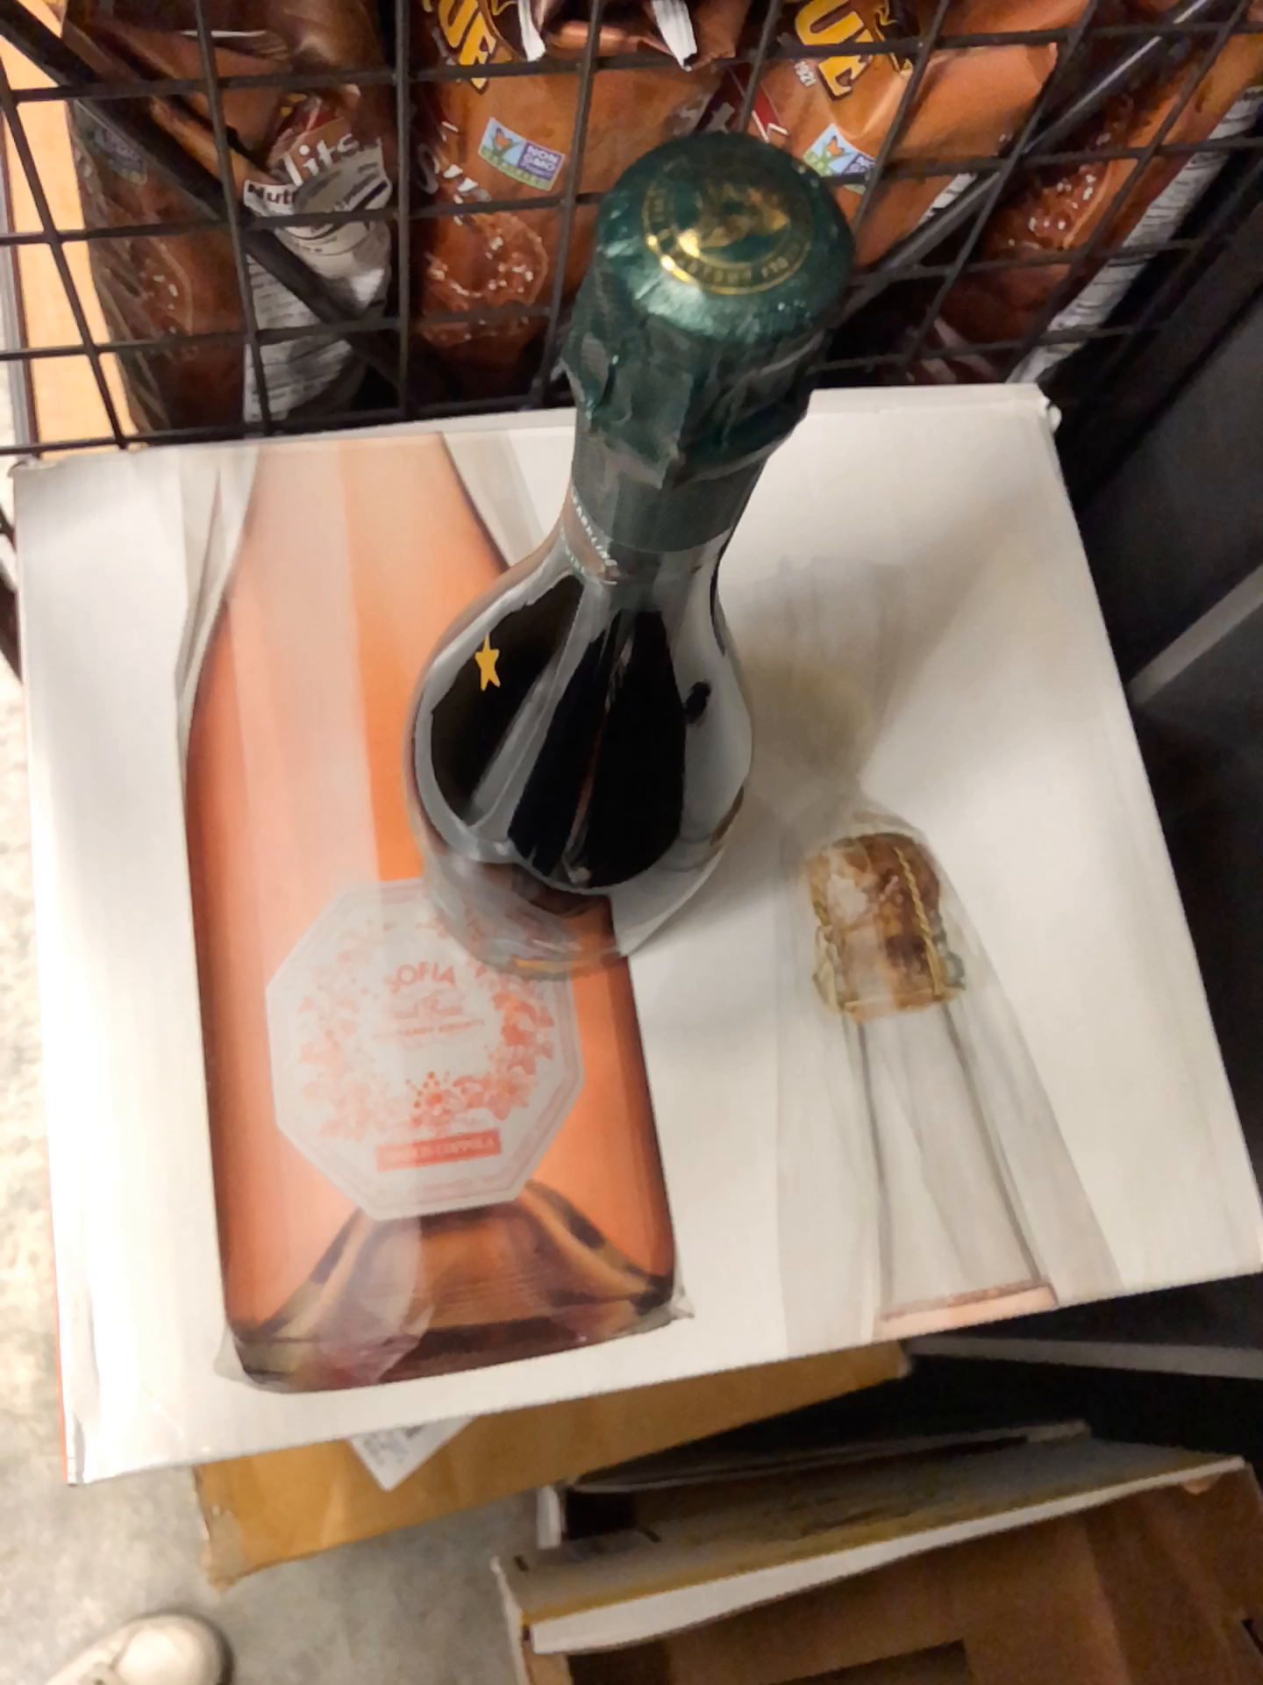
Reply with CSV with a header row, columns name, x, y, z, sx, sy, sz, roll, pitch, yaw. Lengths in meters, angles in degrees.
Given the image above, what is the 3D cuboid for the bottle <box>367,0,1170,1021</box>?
name,x,y,z,sx,sy,sz,roll,pitch,yaw
bottle,-0.006,-0.039,0.320,0.090,0.300,0.090,3,71,-8
